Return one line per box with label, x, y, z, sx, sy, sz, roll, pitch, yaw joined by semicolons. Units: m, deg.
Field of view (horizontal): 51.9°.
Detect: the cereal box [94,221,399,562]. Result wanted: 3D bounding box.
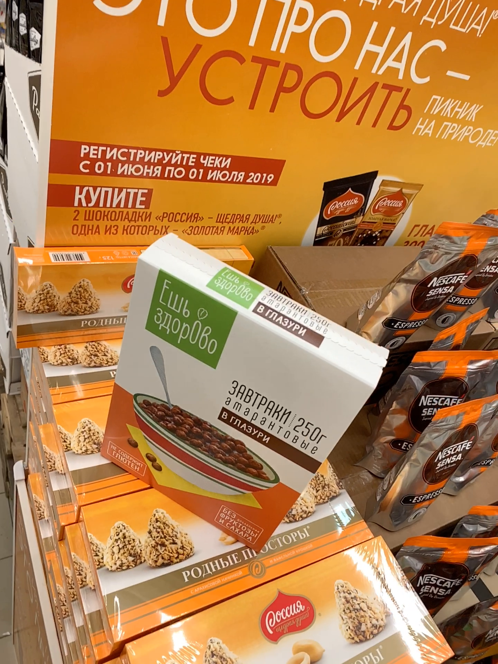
cereal box;-0.024;0.067;0.444;0.190;0.258;0.060;29;40;8
